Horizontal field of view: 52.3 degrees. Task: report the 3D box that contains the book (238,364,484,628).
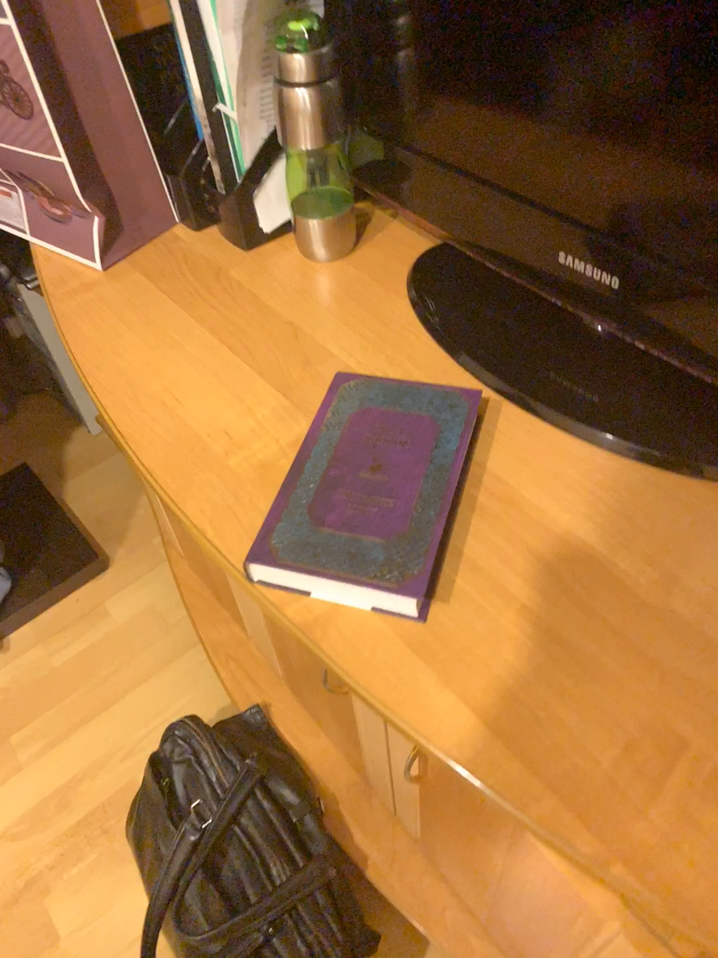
[{"bbox_3d":[0.010,0.002,0.557,0.130,0.040,0.201,10,52,15],"label":"book"}]
